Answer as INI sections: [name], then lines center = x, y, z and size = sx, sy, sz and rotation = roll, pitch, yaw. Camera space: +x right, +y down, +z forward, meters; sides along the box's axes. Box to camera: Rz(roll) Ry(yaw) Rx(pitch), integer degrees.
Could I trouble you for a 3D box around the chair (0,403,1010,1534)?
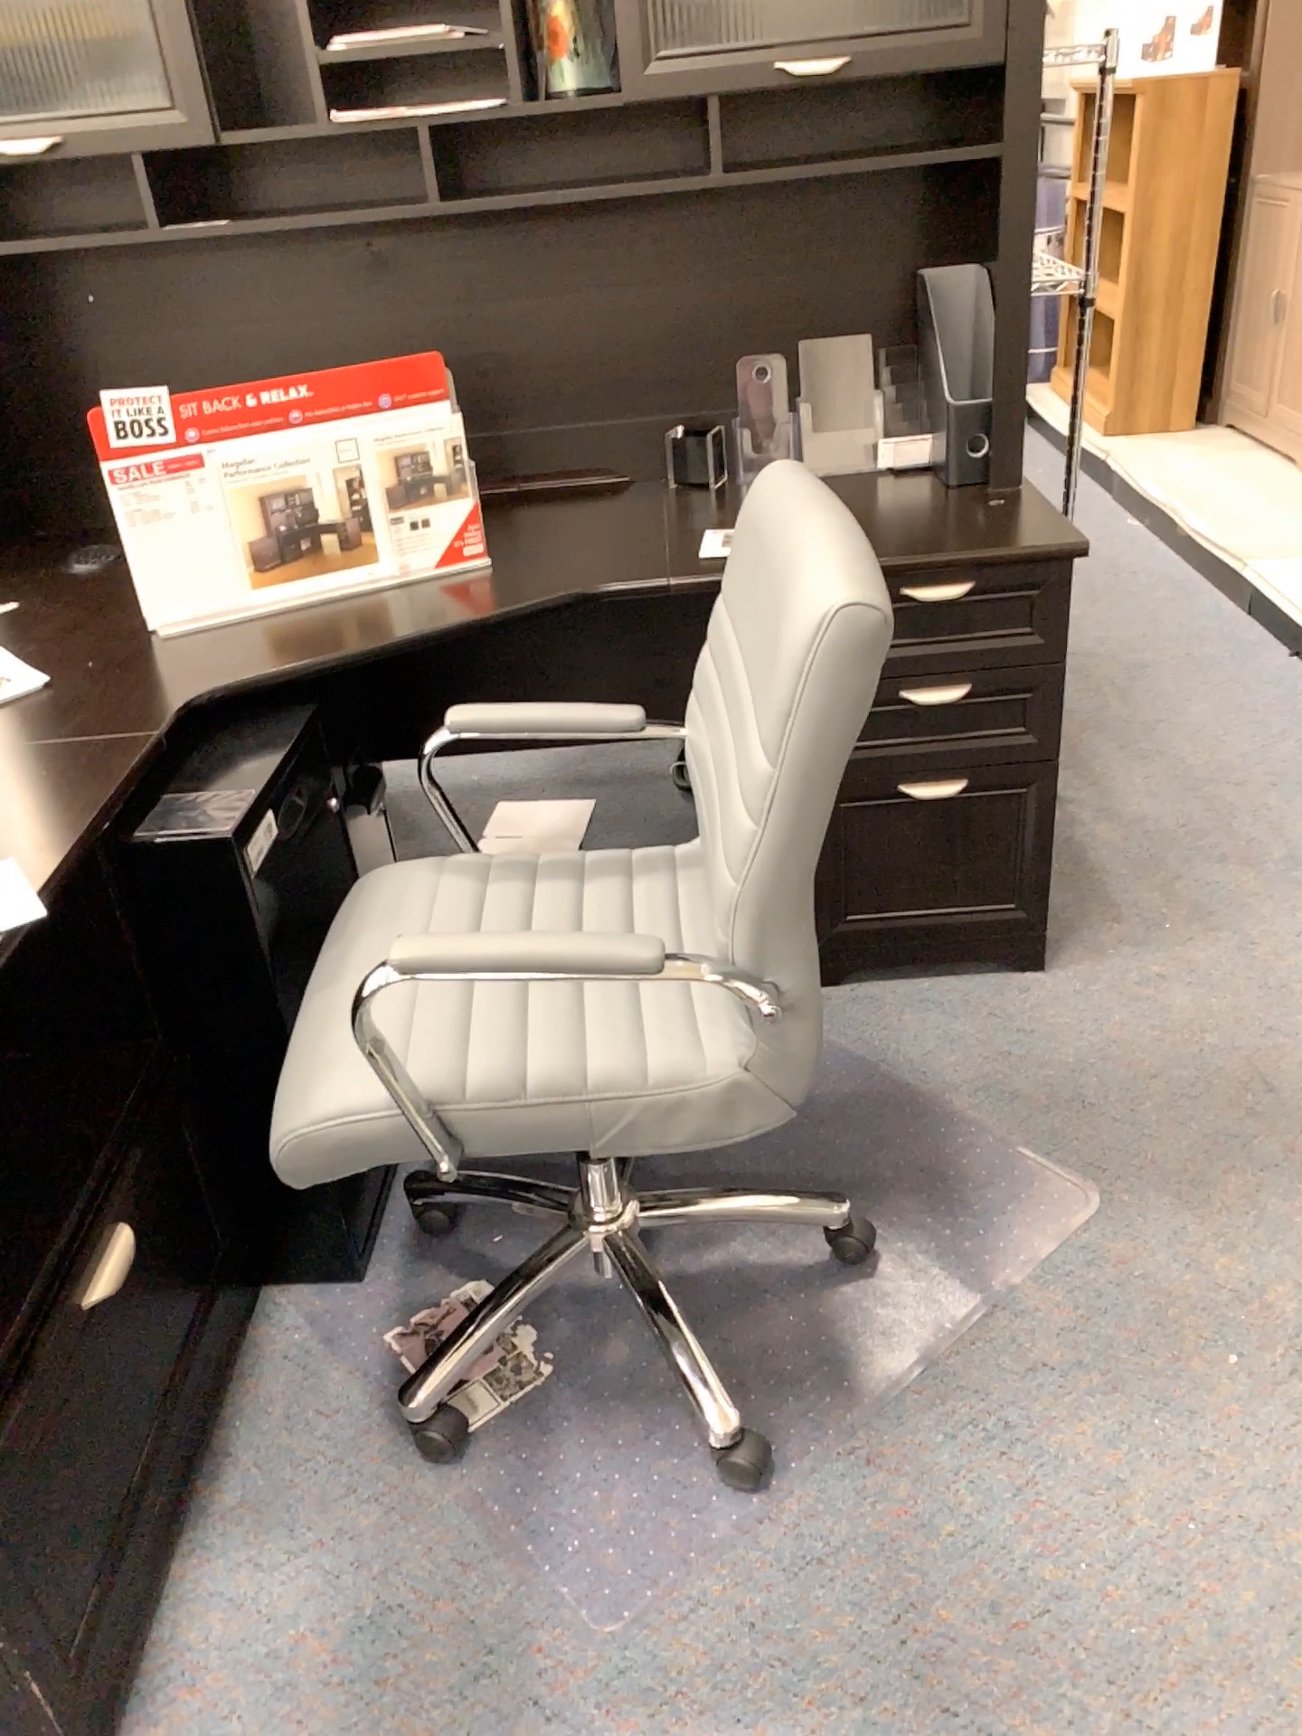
[chair]
center = -0.068, 0.097, 1.412
size = 0.707, 0.962, 0.660
rotation = -3, 30, 4
